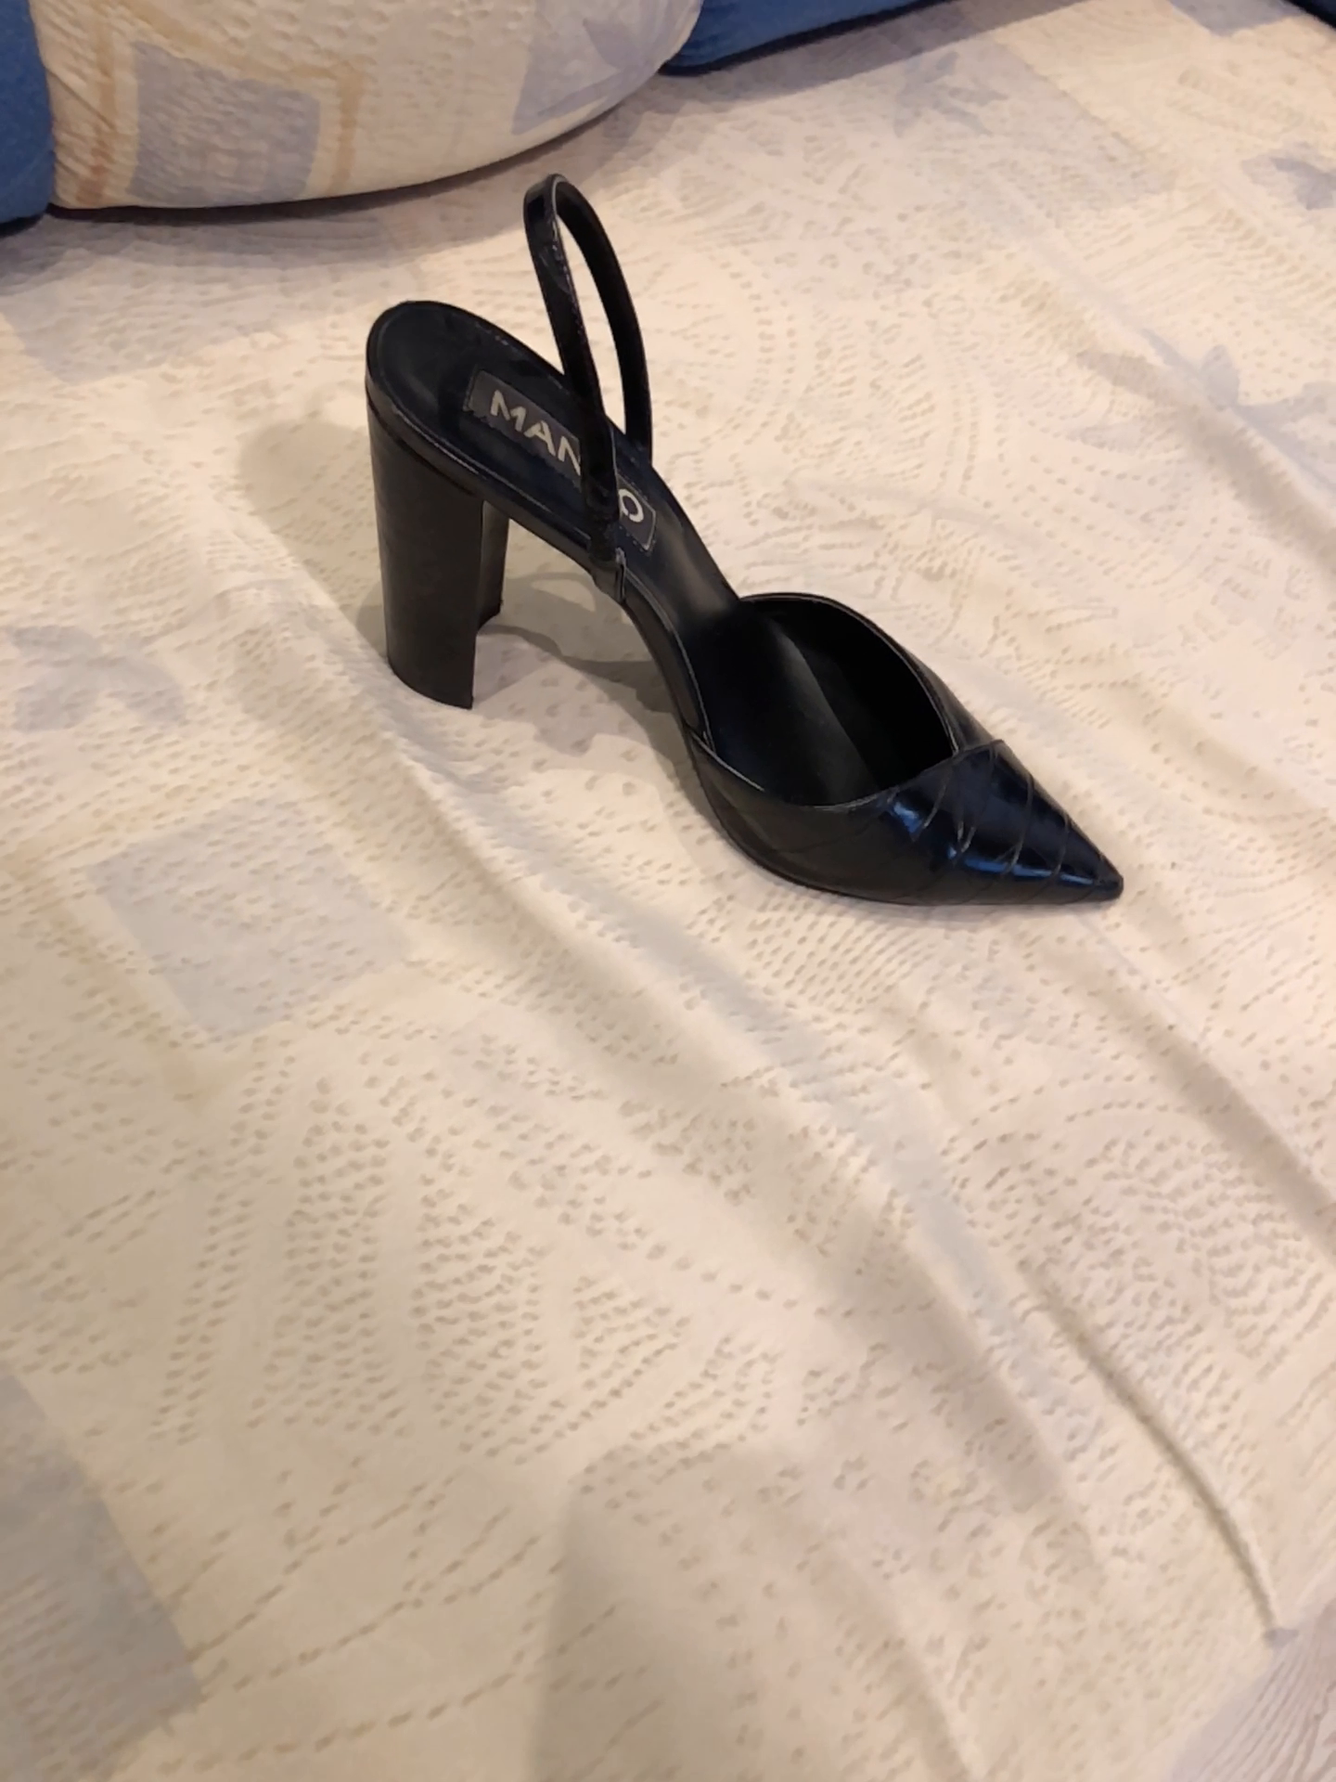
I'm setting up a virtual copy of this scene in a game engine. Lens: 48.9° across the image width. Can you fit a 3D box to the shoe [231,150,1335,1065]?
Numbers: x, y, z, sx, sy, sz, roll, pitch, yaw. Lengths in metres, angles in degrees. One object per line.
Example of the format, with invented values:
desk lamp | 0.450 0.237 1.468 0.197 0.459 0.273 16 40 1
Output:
shoe | 0.025 -0.067 0.385 0.240 0.129 0.101 21 56 1
